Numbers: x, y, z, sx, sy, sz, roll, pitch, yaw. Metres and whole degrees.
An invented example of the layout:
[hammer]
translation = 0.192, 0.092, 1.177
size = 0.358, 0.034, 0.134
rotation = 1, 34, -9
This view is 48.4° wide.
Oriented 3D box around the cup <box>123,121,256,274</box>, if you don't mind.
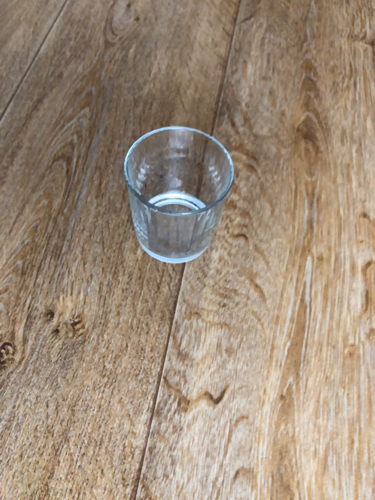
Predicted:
[cup]
translation = -0.003, -0.037, 0.315
size = 0.078, 0.080, 0.076
rotation = 2, 62, -4
